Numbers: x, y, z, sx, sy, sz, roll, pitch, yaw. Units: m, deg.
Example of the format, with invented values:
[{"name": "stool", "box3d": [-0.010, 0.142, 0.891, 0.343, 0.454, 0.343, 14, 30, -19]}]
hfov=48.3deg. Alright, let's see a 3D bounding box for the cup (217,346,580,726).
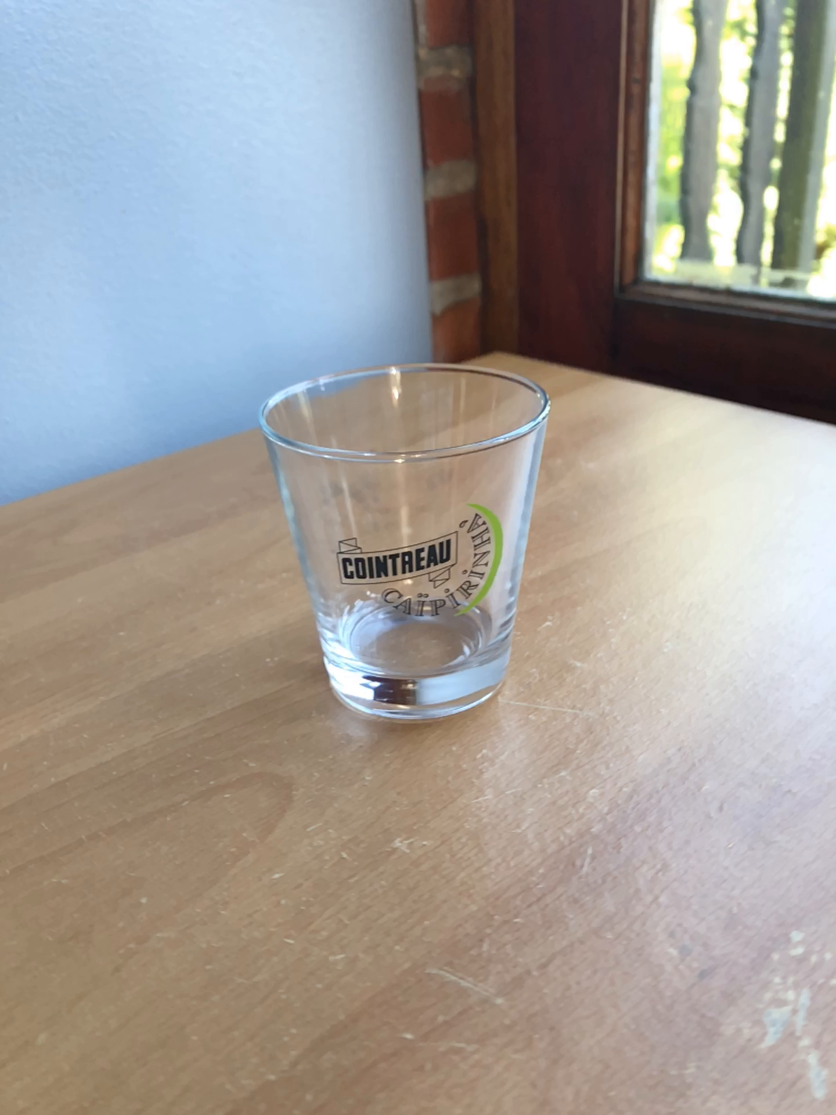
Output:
[{"name": "cup", "box3d": [-0.001, -0.009, 0.253, 0.079, 0.073, 0.076, -3, 27, 2]}]
